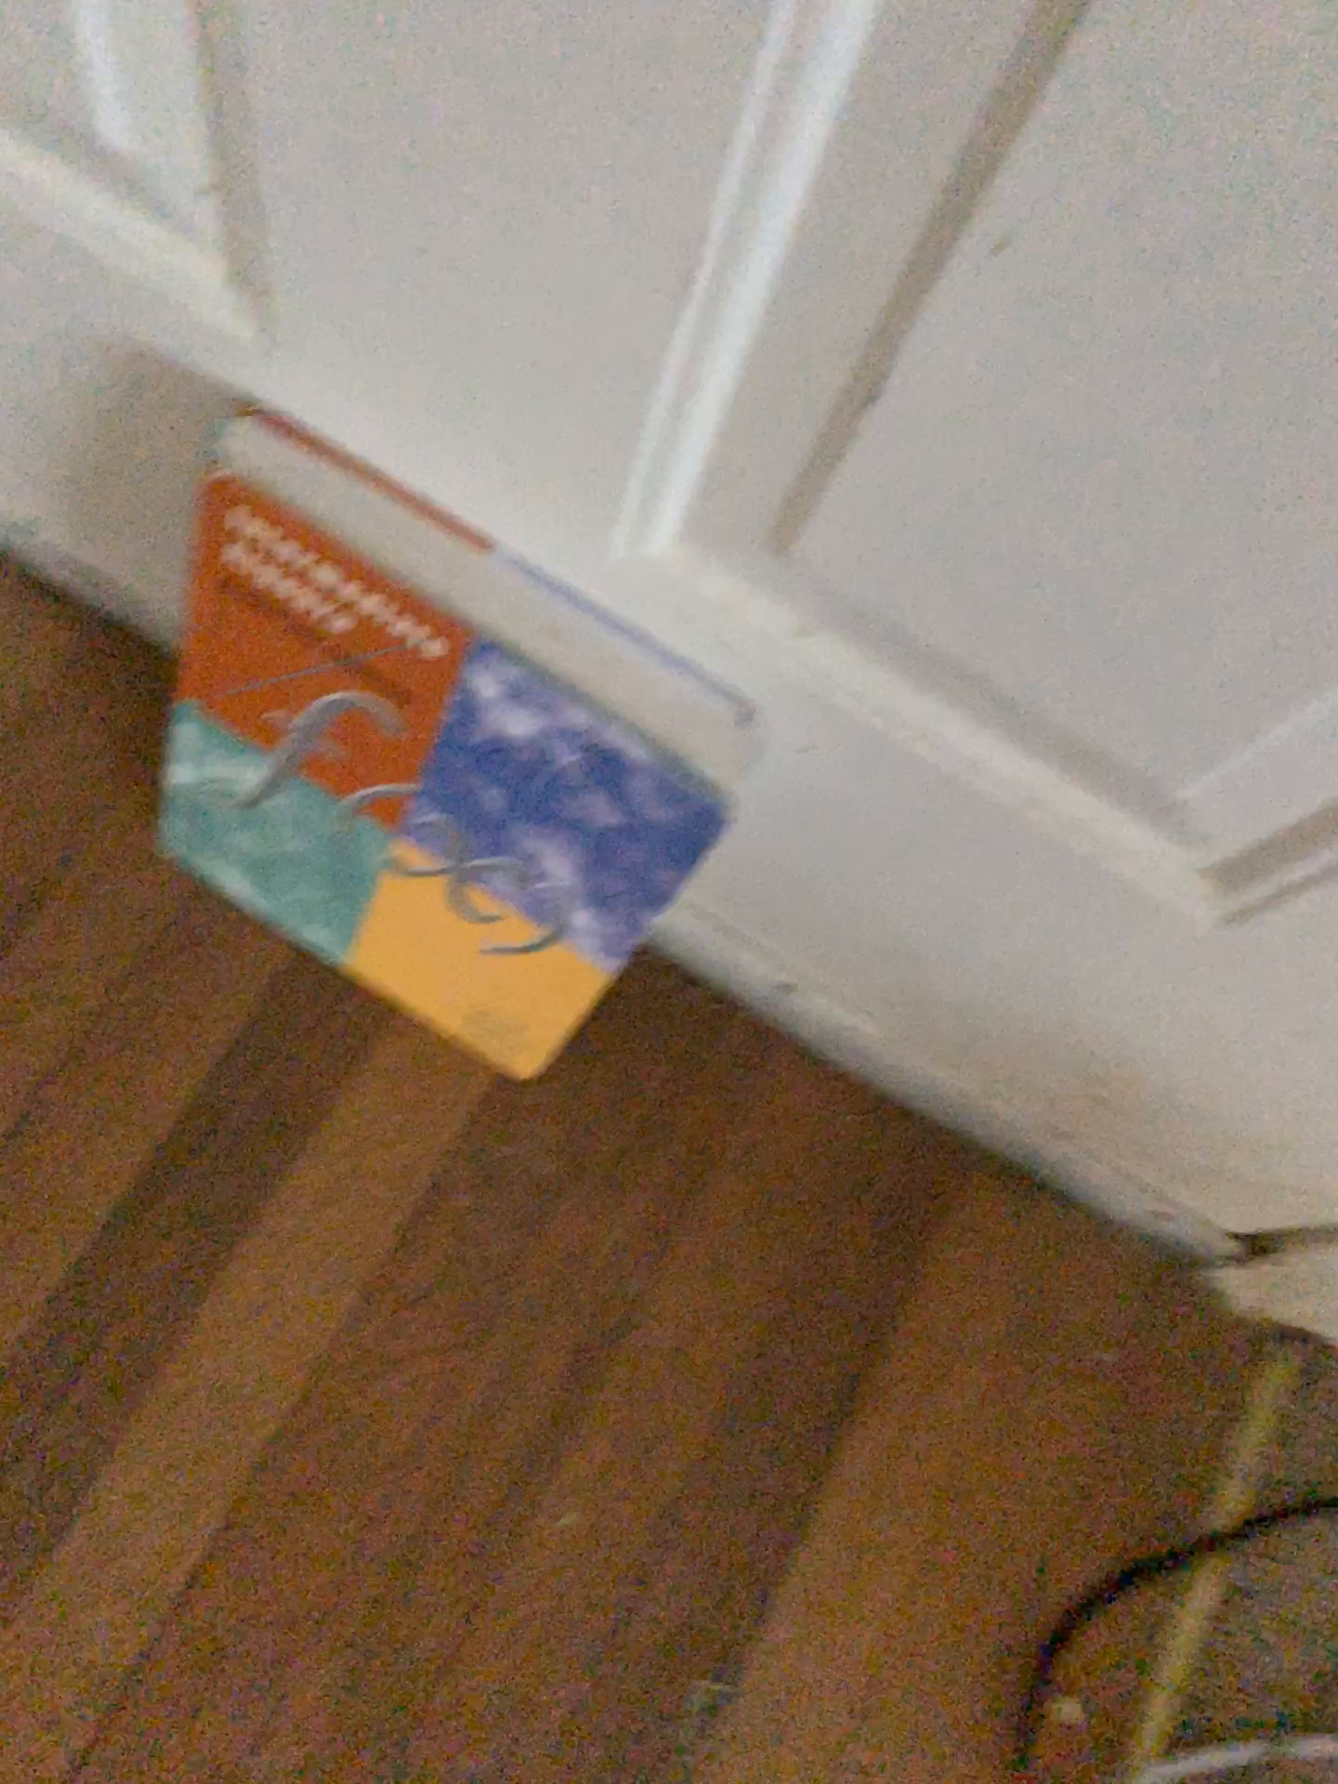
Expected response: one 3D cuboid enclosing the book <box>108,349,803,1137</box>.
[{"bbox_3d":[-0.105,-0.036,0.540,0.230,0.250,0.060,34,54,1],"label":"book"}]
